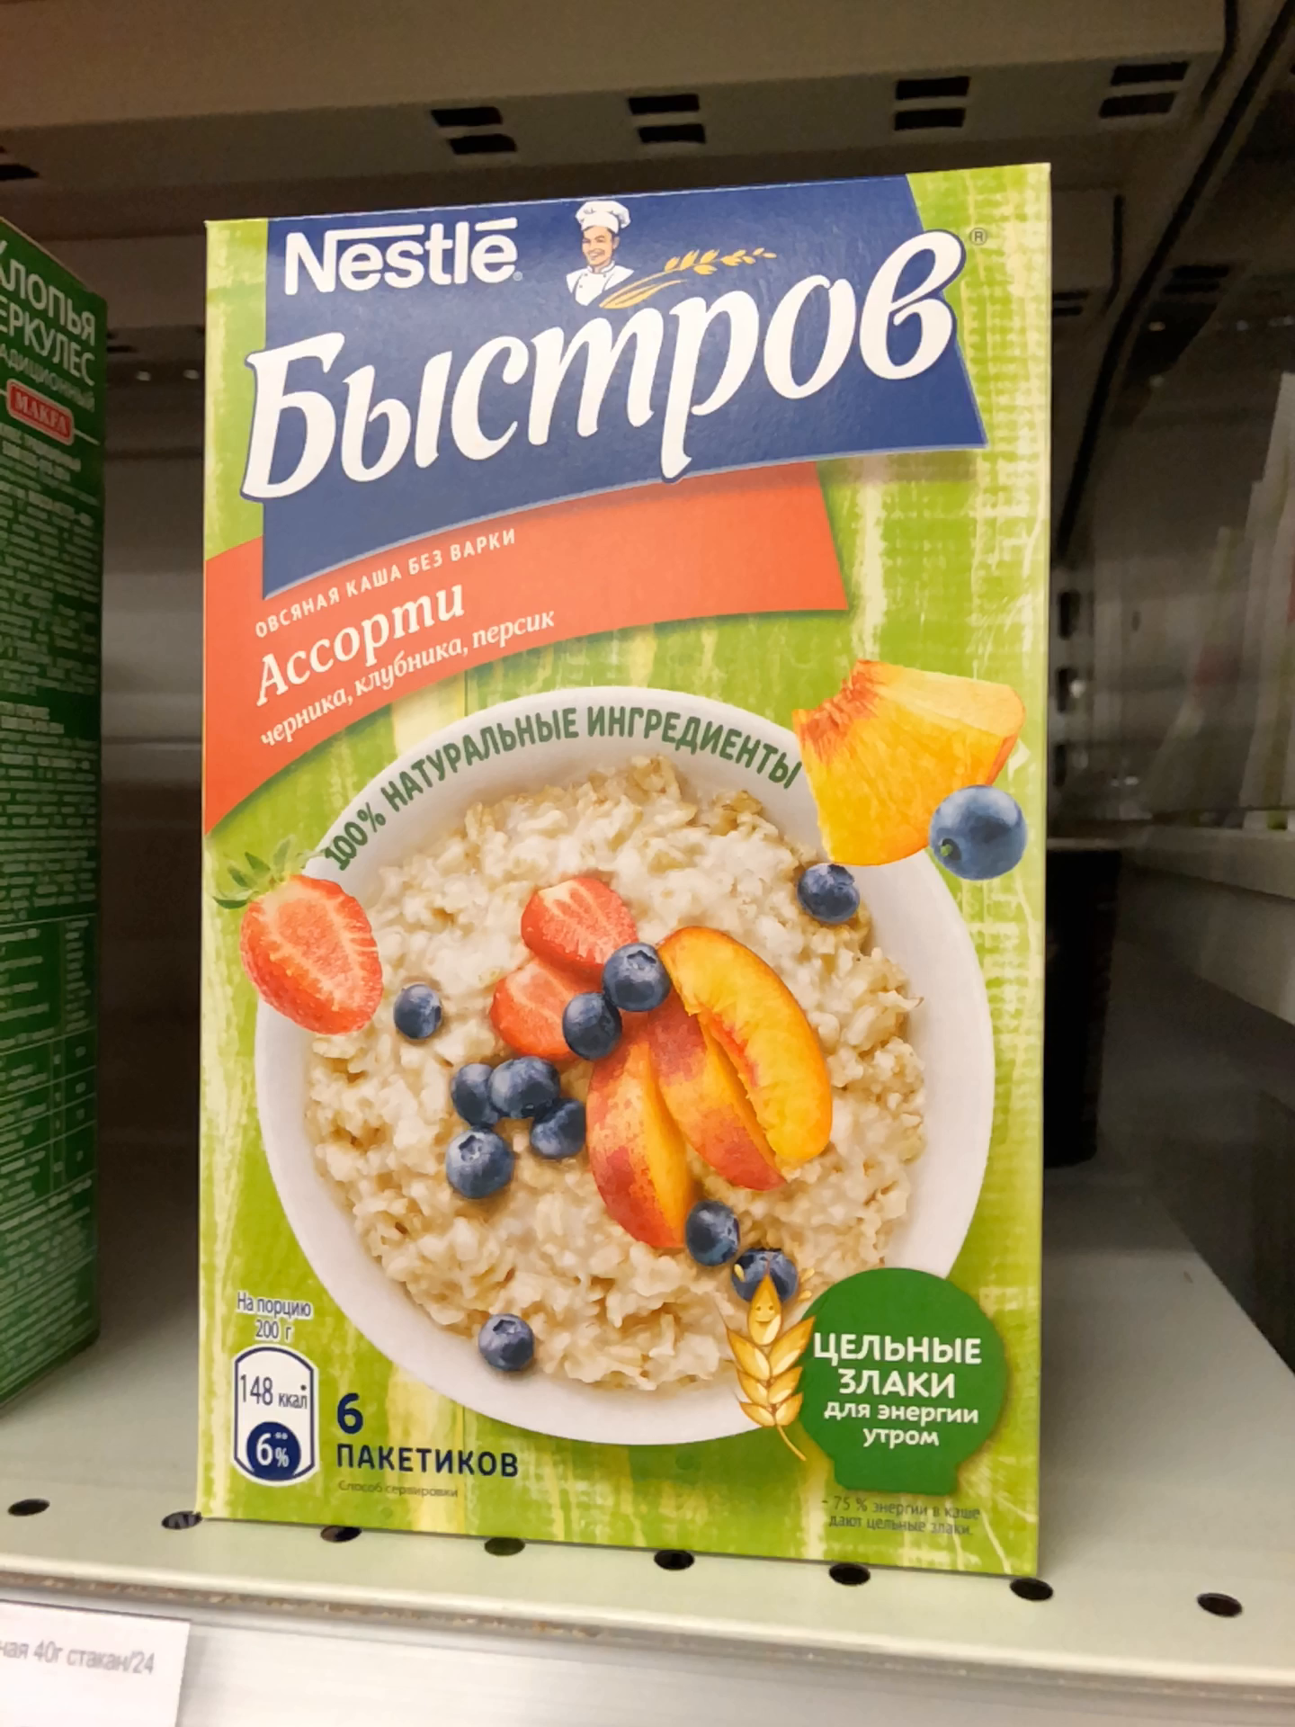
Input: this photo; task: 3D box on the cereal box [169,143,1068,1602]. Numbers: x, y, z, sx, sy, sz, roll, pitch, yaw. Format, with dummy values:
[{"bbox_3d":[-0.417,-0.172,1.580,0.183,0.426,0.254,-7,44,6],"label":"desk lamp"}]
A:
[{"bbox_3d":[-0.003,0.001,0.231,0.130,0.200,0.050,0,1,9],"label":"cereal box"}]
